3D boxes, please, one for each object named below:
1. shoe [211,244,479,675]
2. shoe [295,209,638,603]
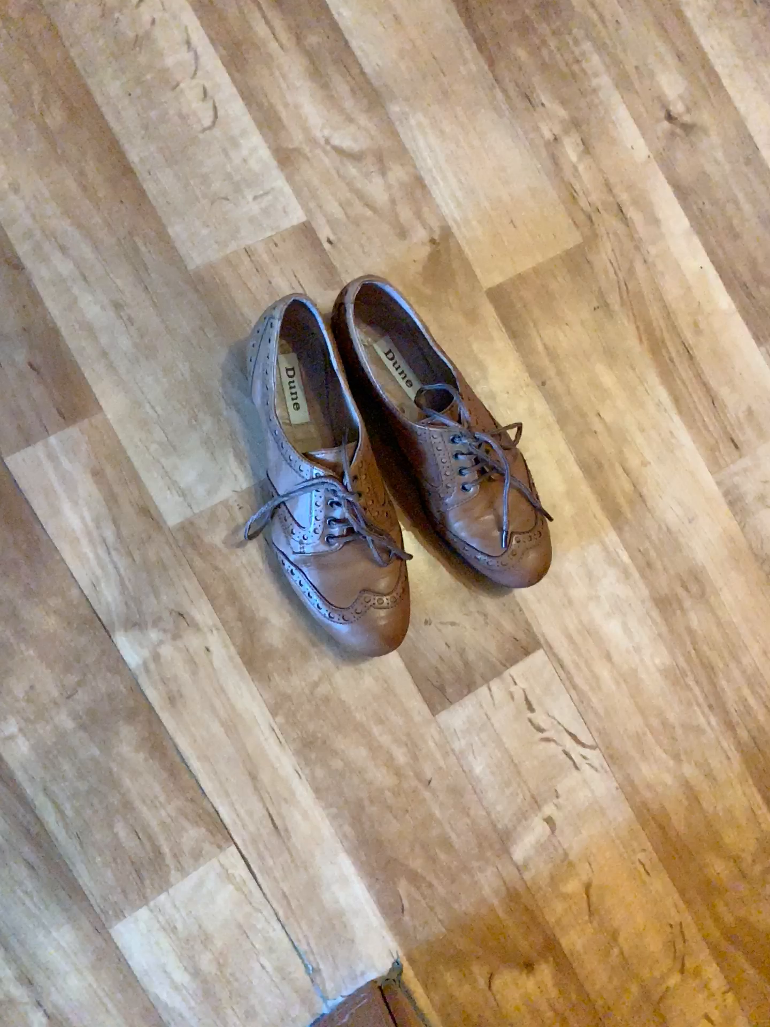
[{"bbox_3d":[-0.035,-0.029,0.519,0.090,0.120,0.240,-17,87,-14],"label":"shoe"},{"bbox_3d":[0.044,-0.059,0.524,0.080,0.120,0.230,-35,92,-14],"label":"shoe"}]
